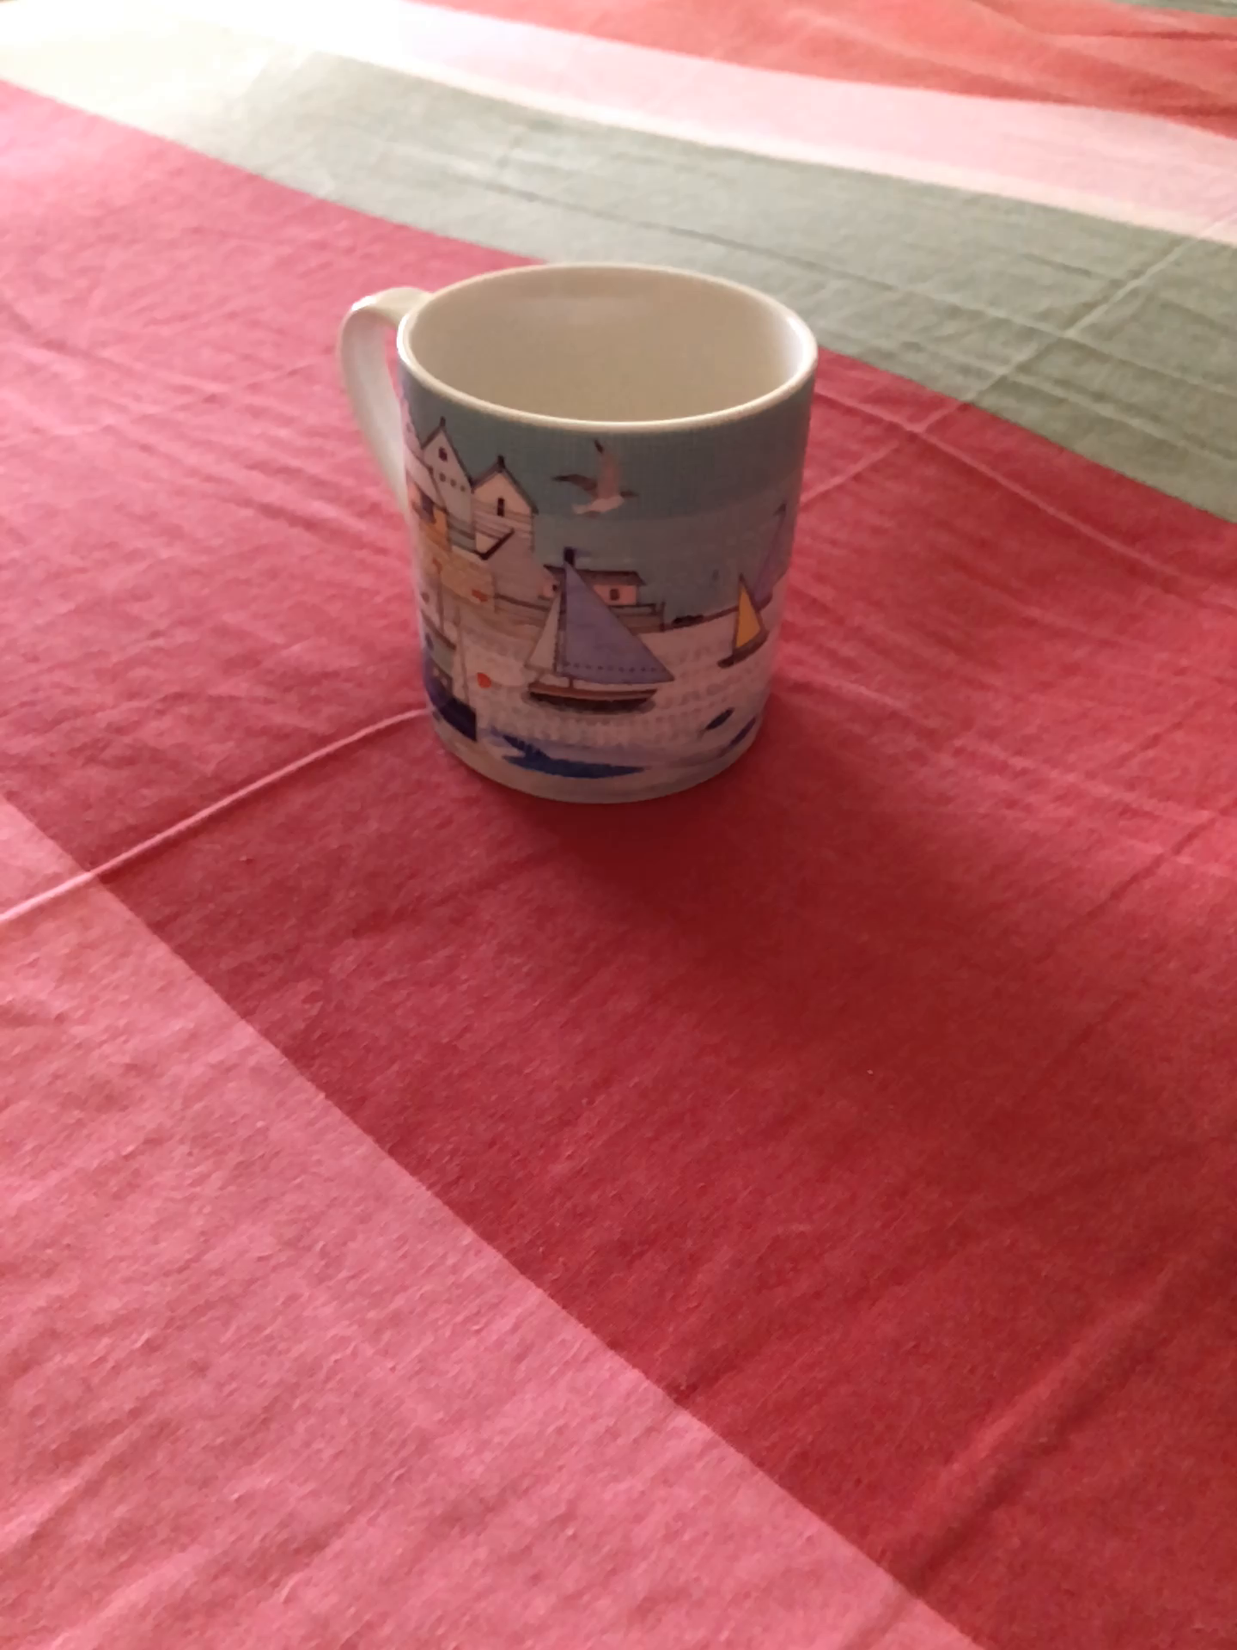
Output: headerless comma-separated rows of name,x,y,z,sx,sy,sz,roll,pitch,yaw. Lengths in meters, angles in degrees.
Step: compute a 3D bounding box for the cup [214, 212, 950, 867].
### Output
cup,-0.010,-0.071,0.308,0.094,0.080,0.120,-31,49,-32
